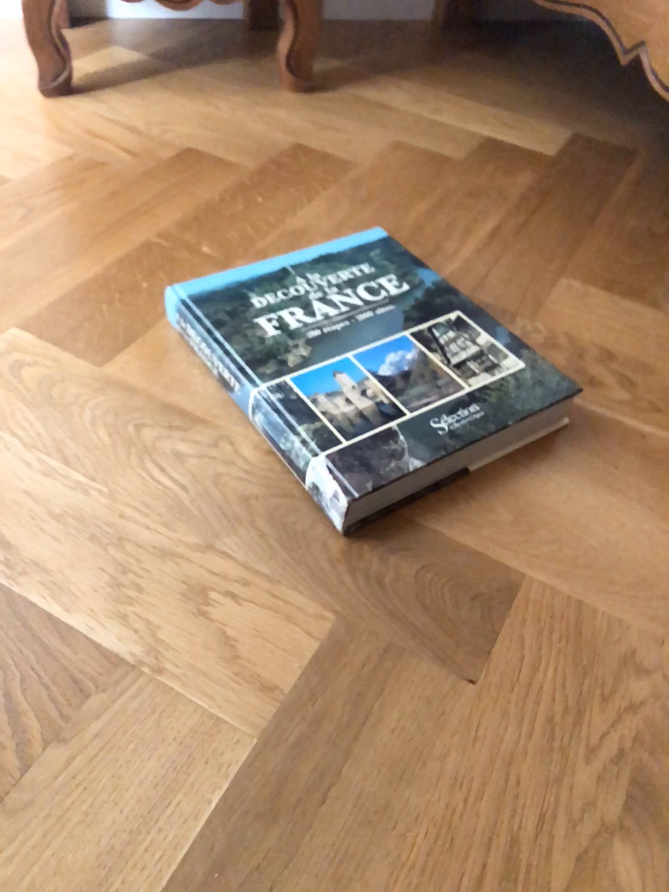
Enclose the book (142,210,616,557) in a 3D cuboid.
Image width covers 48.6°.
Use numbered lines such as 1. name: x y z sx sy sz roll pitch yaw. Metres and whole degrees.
1. book: 0.026 -0.078 0.594 0.251 0.040 0.291 -23 53 -26
